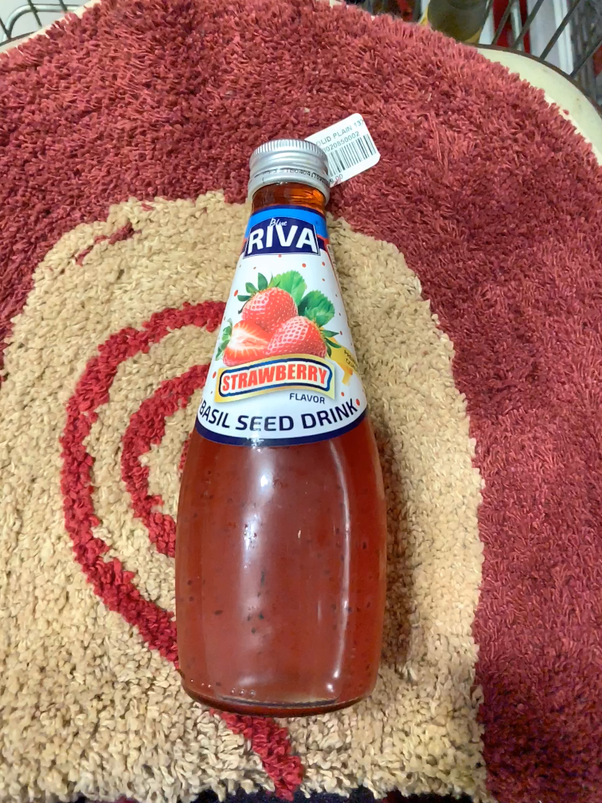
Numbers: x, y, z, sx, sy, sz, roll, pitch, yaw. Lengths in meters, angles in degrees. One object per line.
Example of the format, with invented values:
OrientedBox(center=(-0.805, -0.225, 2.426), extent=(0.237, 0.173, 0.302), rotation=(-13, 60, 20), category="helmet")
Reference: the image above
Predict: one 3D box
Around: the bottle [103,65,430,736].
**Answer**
OrientedBox(center=(-0.005, -0.004, 0.173), extent=(0.070, 0.050, 0.160), rotation=(1, 79, 1), category="bottle")
